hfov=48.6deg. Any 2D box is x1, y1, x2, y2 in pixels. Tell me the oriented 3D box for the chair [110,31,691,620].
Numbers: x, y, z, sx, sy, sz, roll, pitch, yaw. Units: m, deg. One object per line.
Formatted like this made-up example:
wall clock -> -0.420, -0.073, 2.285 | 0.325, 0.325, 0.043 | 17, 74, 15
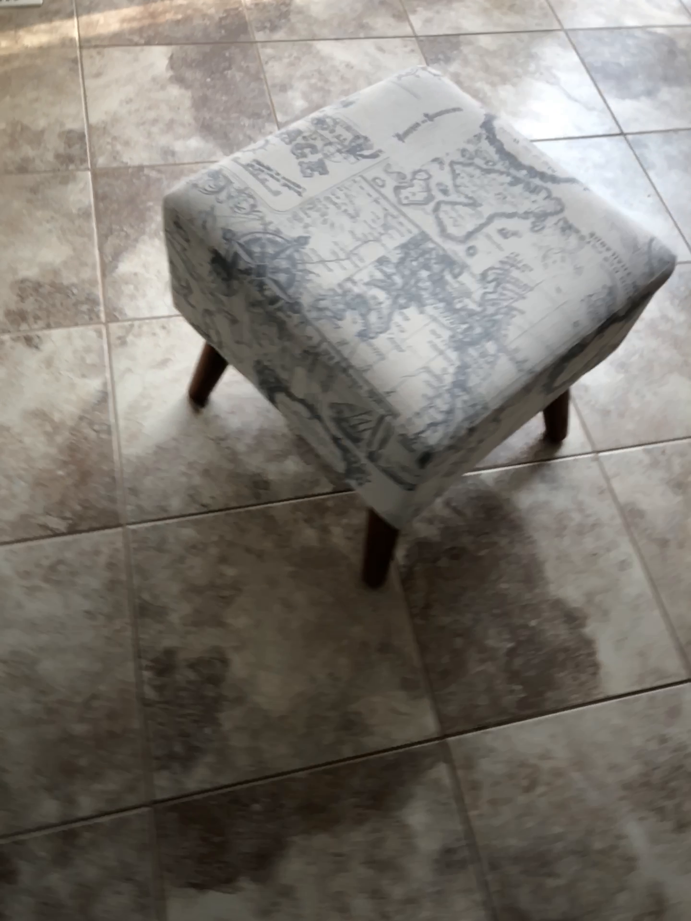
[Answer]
chair -> 0.072, -0.167, 0.900 | 0.471, 0.319, 0.420 | -37, 71, -24
